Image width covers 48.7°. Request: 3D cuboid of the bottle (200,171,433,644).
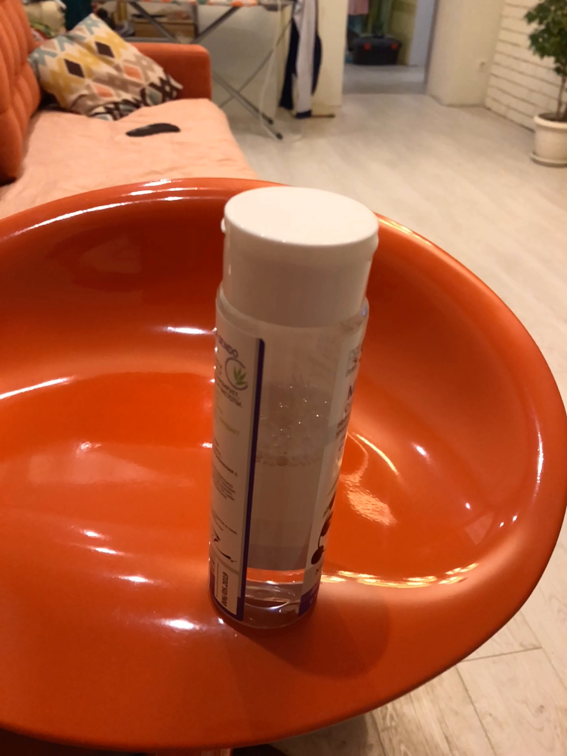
[{"bbox_3d":[0.001,0.017,0.229,0.052,0.166,0.054,4,33,-2],"label":"bottle"}]
